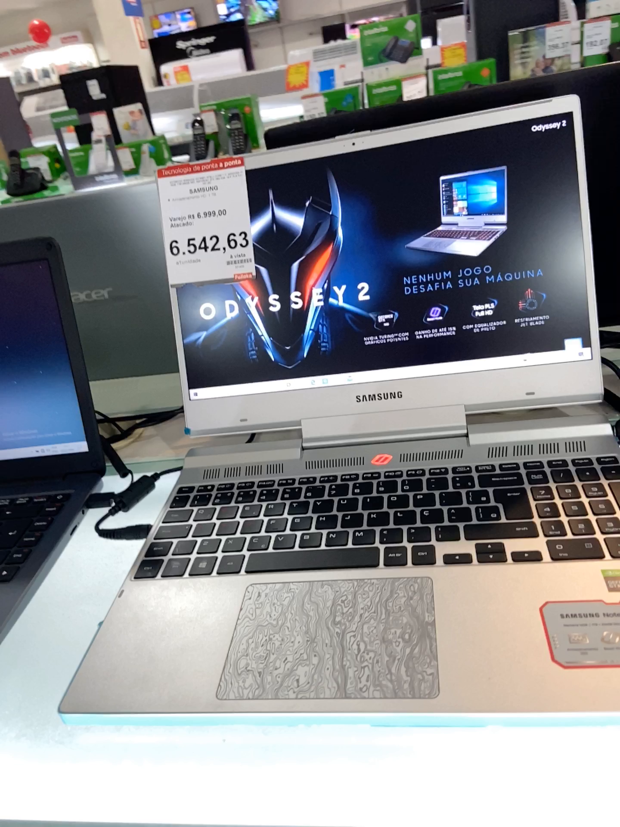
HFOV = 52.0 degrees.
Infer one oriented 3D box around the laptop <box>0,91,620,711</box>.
[{"bbox_3d":[0.033,-0.042,0.424,0.353,0.225,0.370,-6,29,12],"label":"laptop"}]
